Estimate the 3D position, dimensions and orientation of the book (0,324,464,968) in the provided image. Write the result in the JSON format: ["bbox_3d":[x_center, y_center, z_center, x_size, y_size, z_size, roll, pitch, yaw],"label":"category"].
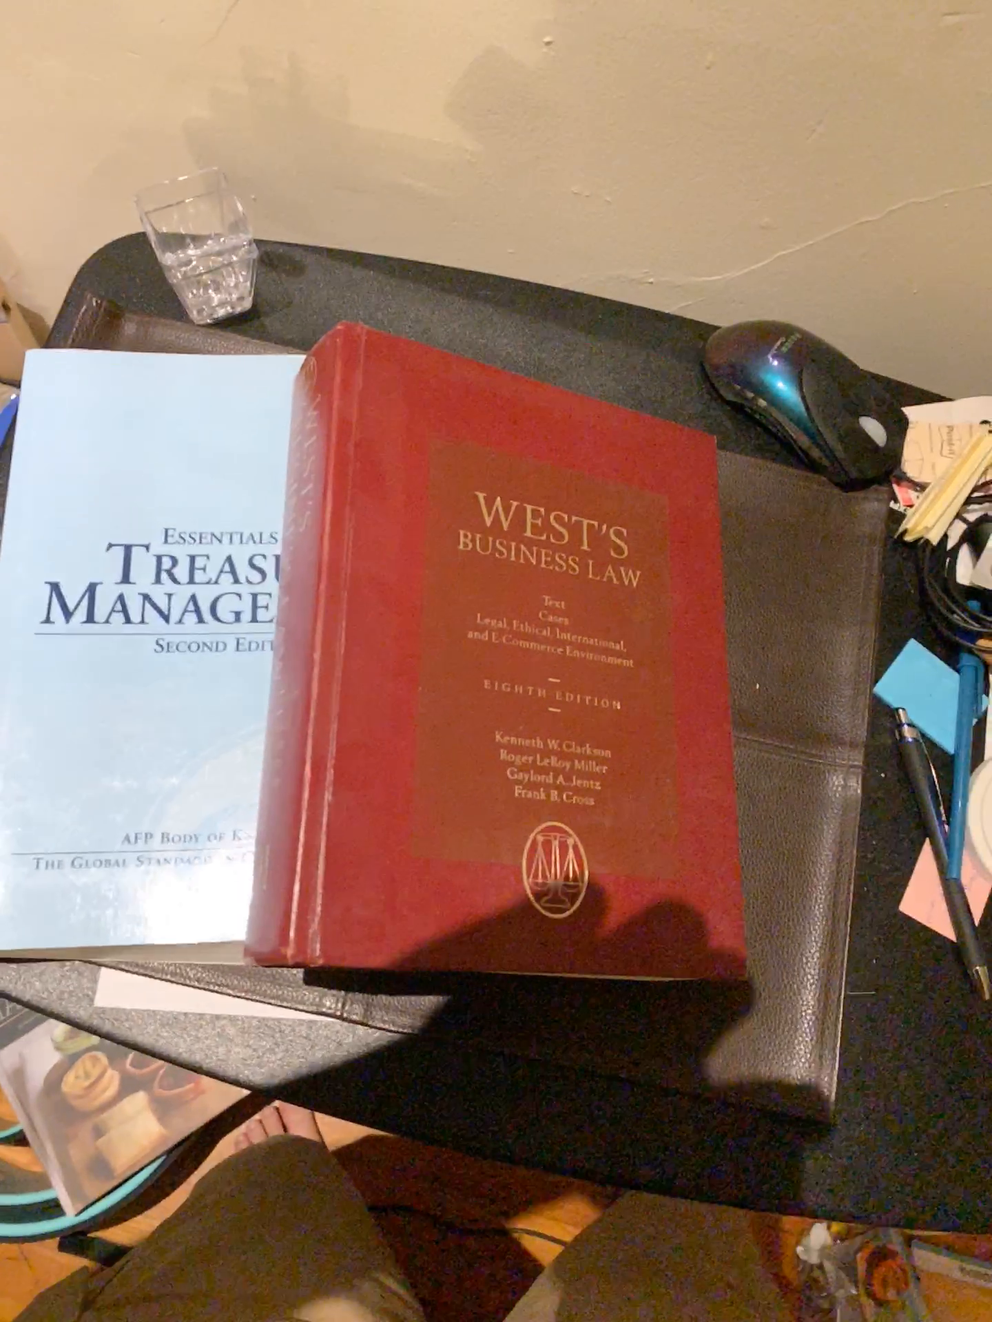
[{"bbox_3d":[-0.129,-0.007,0.453,0.220,0.070,0.270,2,72,-4],"label":"book"}]

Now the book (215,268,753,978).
[{"bbox_3d":[0.003,-0.007,0.437,0.210,0.050,0.270,10,69,-27],"label":"book"}]
